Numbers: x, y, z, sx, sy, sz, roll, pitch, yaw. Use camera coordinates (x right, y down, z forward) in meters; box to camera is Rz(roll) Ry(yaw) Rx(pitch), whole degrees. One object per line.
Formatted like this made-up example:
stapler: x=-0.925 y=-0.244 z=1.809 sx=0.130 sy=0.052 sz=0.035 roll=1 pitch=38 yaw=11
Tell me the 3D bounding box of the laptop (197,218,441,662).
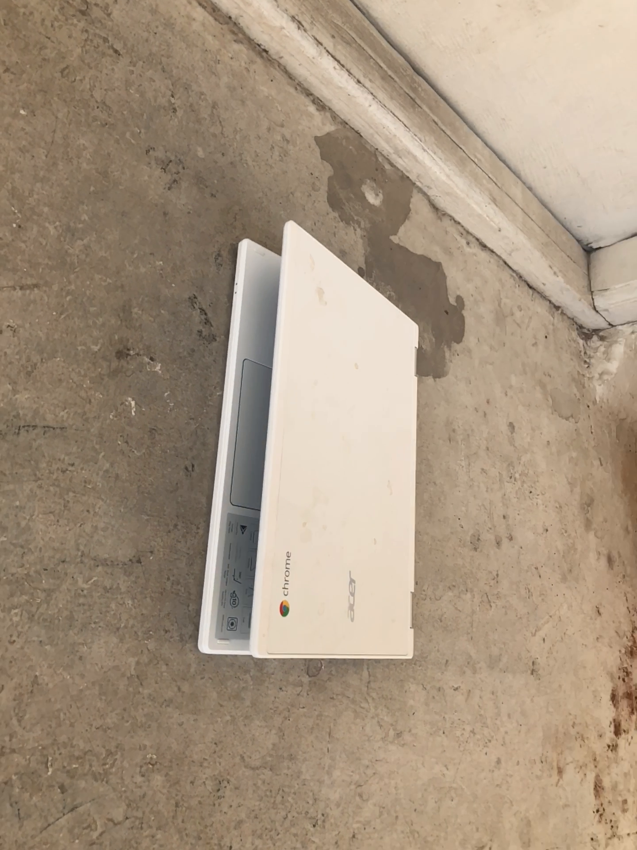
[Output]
laptop: x=0.016 y=0.023 z=0.507 sx=0.190 sy=0.046 sz=0.278 roll=21 pitch=66 yaw=-44
